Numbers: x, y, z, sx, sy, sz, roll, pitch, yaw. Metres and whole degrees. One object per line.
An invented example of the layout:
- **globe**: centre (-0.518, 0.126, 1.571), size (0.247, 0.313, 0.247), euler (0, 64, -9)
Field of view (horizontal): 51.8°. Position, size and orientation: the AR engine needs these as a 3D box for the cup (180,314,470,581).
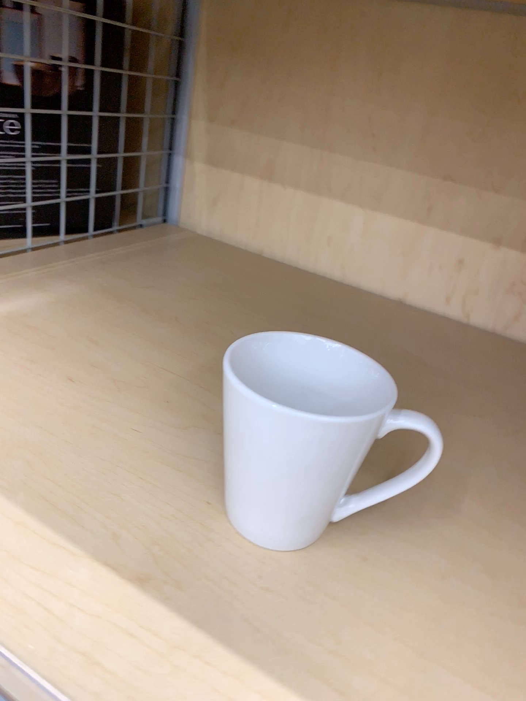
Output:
- **cup**: centre (0.030, 0.052, 0.314), size (0.128, 0.090, 0.094), euler (12, 29, 1)
